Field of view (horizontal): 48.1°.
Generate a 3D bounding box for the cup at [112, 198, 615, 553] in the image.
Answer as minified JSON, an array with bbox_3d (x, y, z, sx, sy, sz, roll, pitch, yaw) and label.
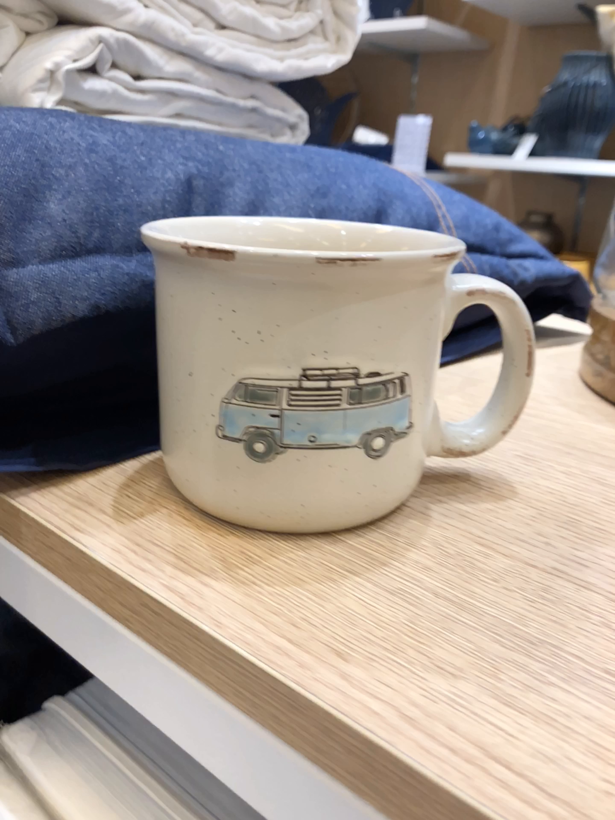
[{"bbox_3d":[0.014,-0.020,0.236,0.140,0.089,0.101,0,20,-9],"label":"cup"}]
